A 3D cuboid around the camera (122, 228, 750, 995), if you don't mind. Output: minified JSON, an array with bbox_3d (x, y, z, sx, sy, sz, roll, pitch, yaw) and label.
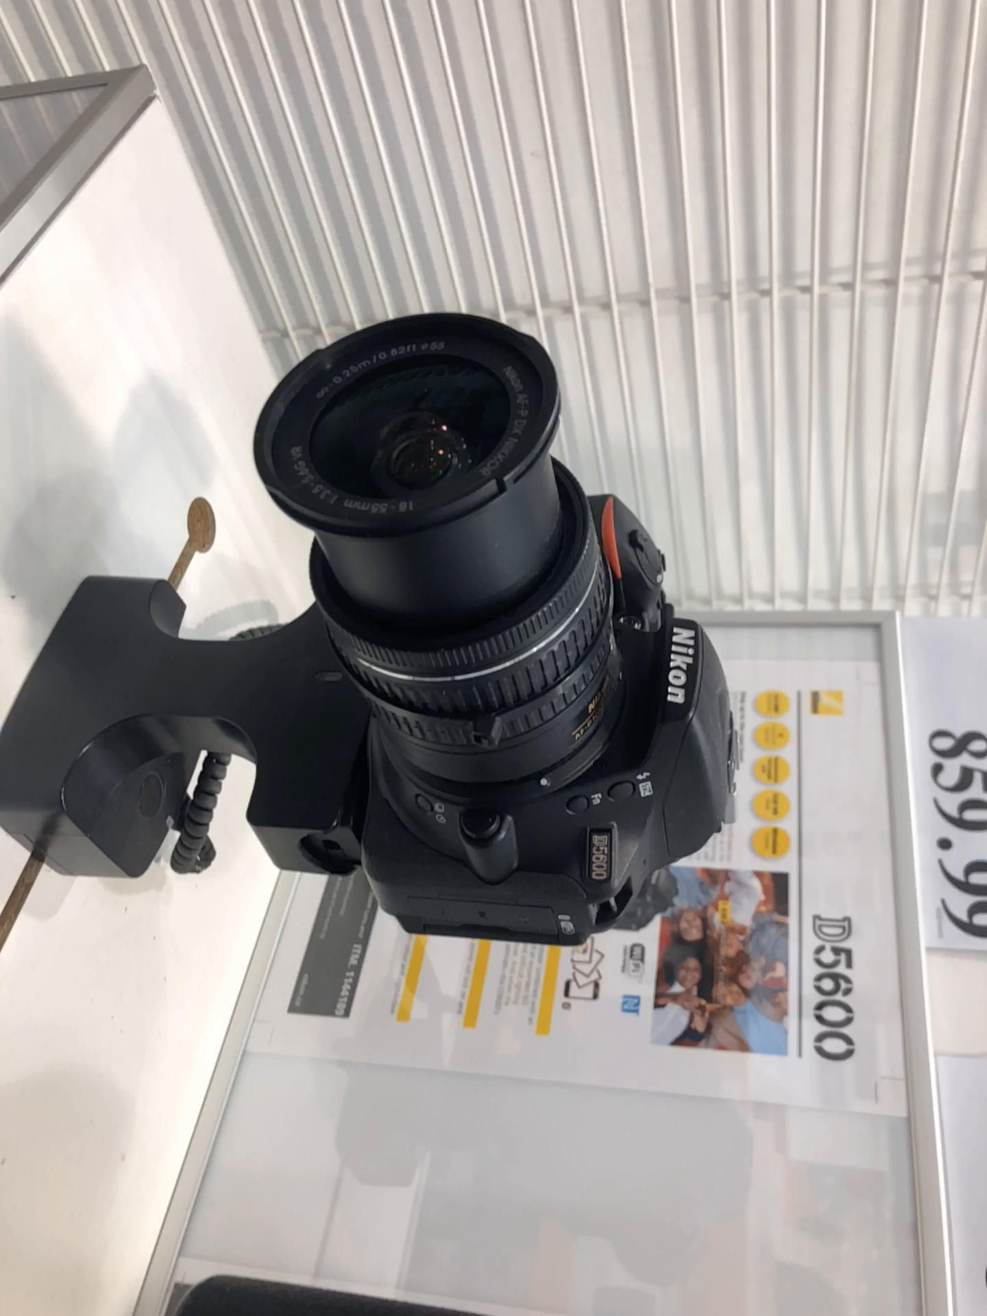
[{"bbox_3d":[0.009,-0.001,0.286,0.160,0.110,0.120,71,24,-54],"label":"camera"}]
